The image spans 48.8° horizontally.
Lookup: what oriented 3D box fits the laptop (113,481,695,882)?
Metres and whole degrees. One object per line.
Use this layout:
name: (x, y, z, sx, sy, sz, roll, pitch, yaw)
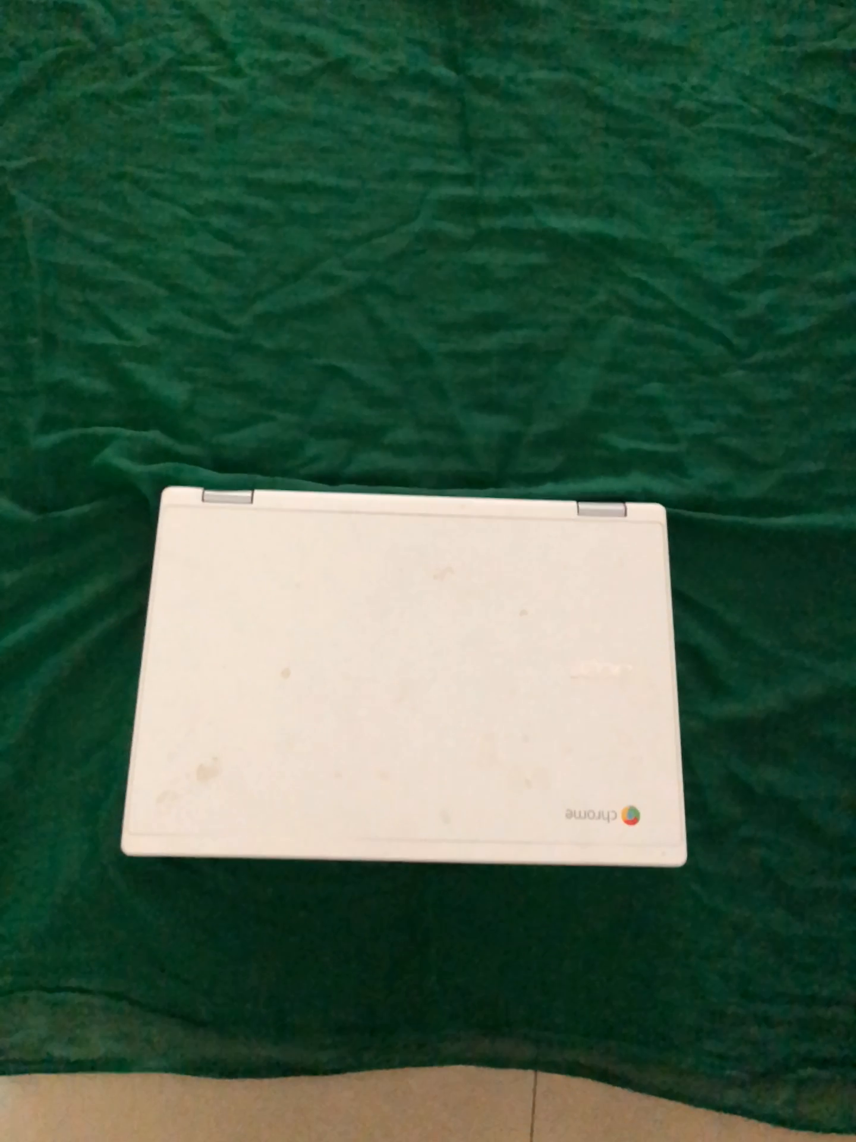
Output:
laptop: (-0.011, 0.056, 0.505, 0.281, 0.065, 0.193, 2, 88, -1)
